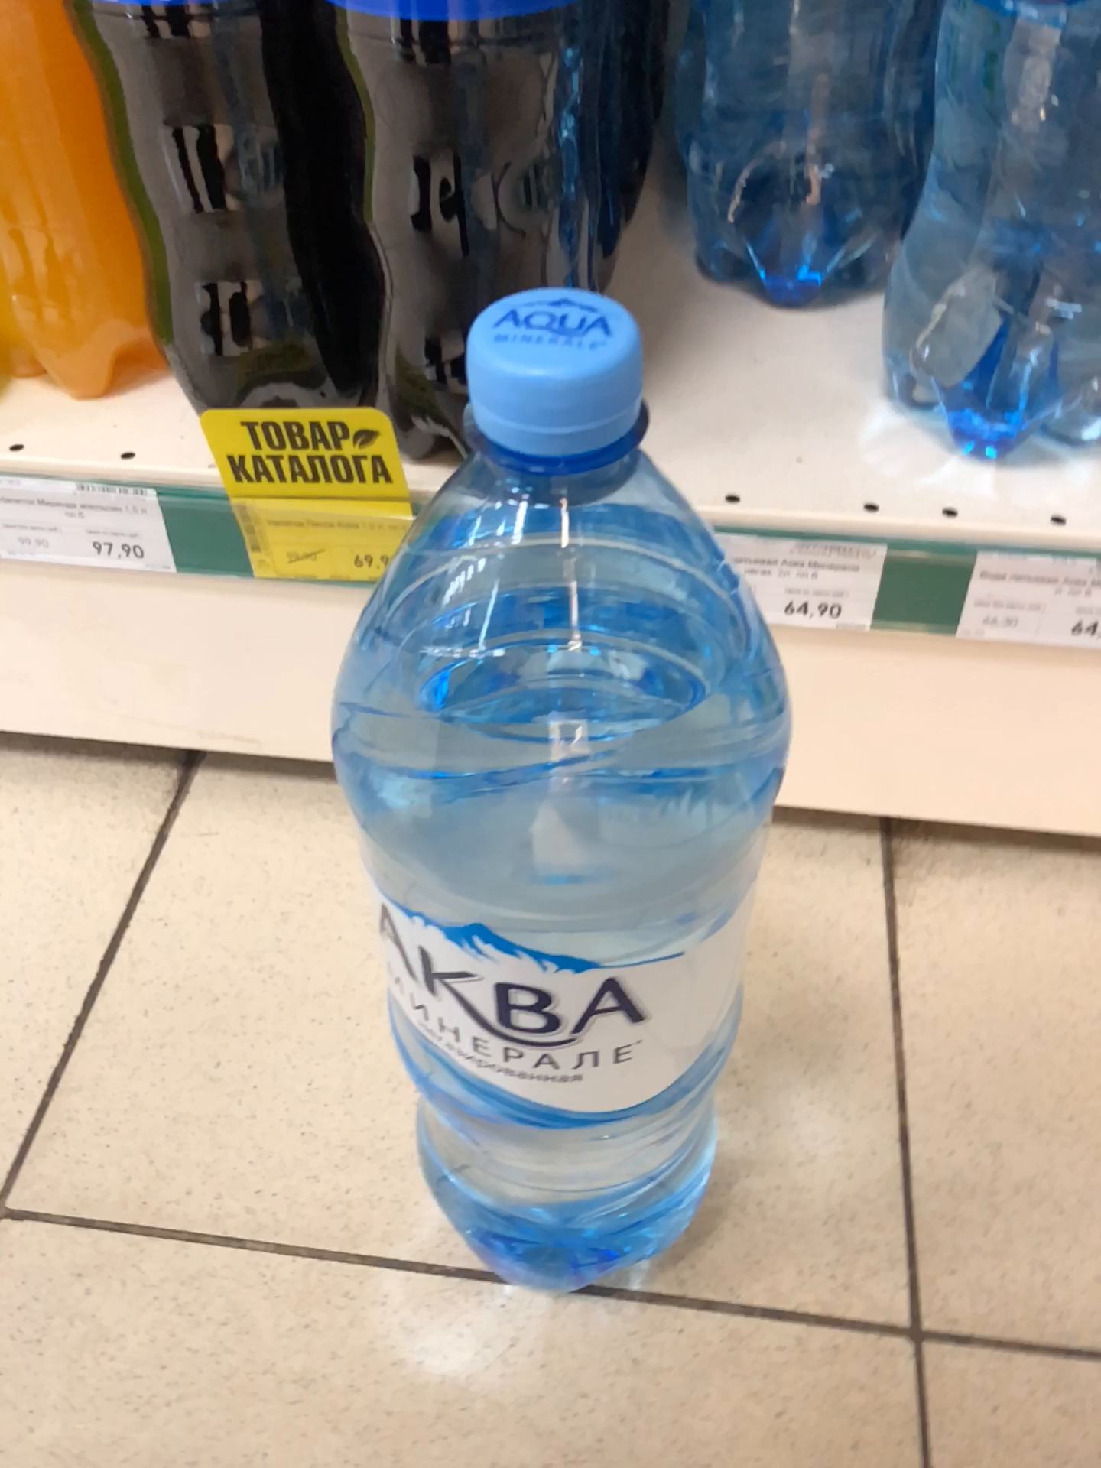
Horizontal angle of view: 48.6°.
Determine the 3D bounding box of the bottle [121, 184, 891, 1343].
[{"bbox_3d":[0.001,0.044,0.319,0.105,0.323,0.088,12,47,12],"label":"bottle"}]
